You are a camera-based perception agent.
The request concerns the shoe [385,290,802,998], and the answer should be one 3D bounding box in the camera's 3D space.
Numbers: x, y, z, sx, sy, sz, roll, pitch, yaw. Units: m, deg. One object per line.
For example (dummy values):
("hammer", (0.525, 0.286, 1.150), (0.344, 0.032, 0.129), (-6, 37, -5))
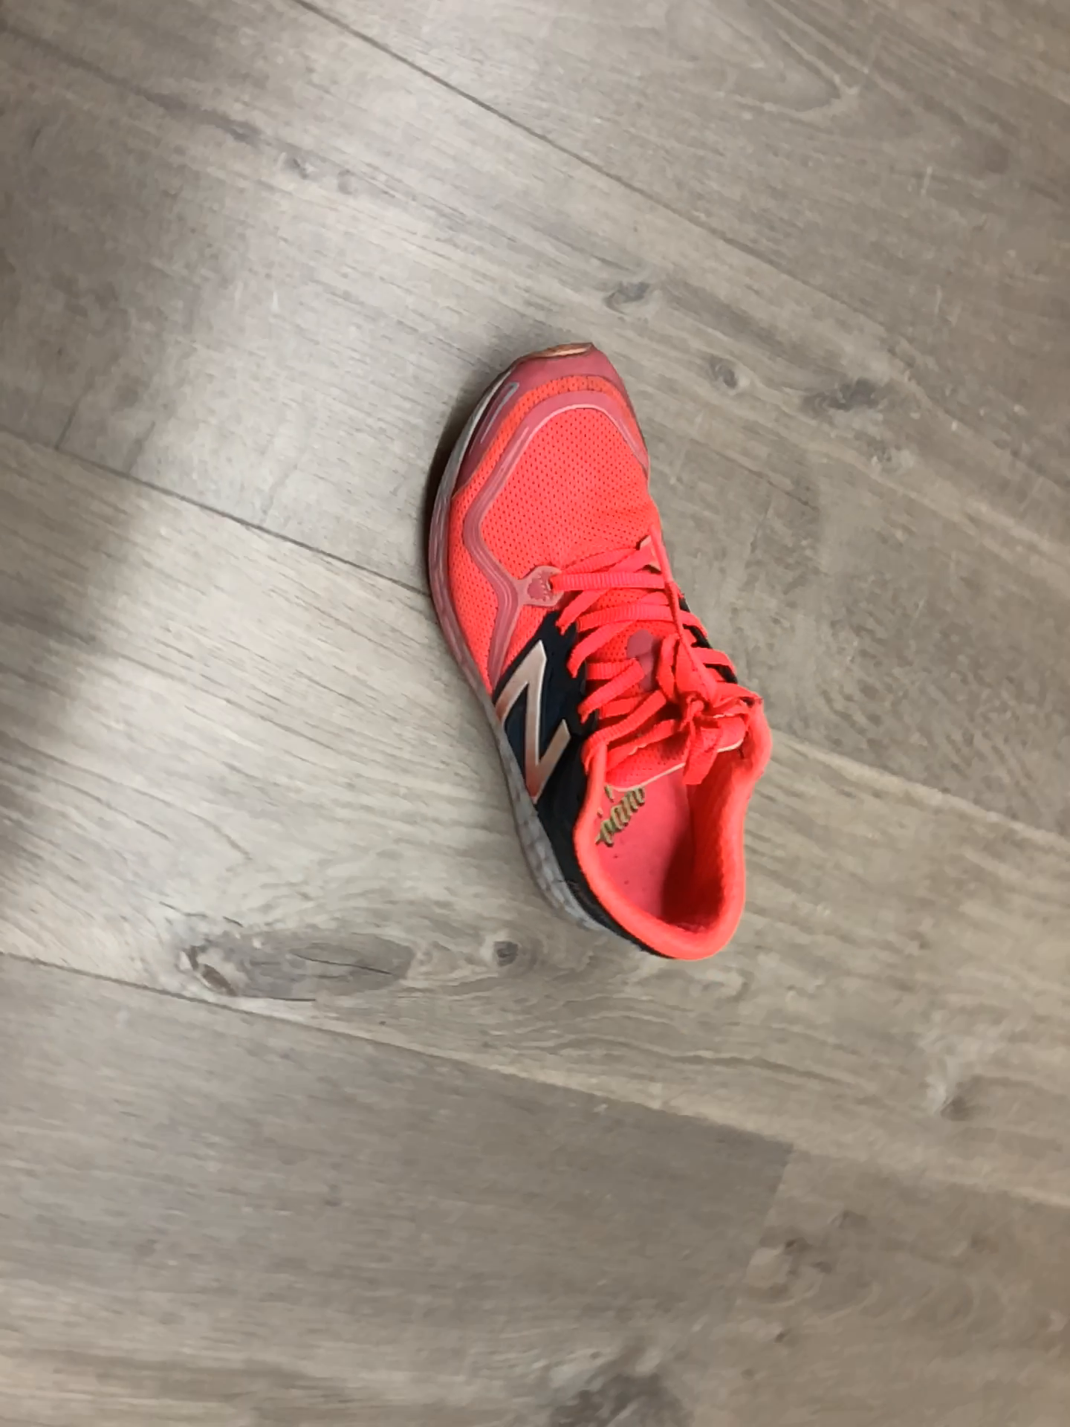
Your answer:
("shoe", (0.021, -0.030, 0.475), (0.100, 0.110, 0.240), (-13, 102, -16))
